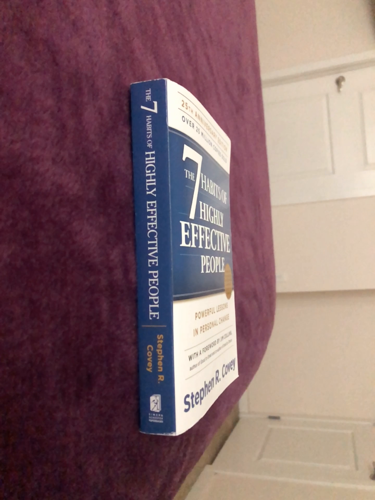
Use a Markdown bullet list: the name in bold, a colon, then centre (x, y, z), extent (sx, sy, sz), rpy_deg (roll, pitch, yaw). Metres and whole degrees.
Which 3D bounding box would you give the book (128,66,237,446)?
- **book**: centre (0.004, 0.005, 0.311), extent (0.147, 0.028, 0.217), rpy_deg (8, 80, -70)
